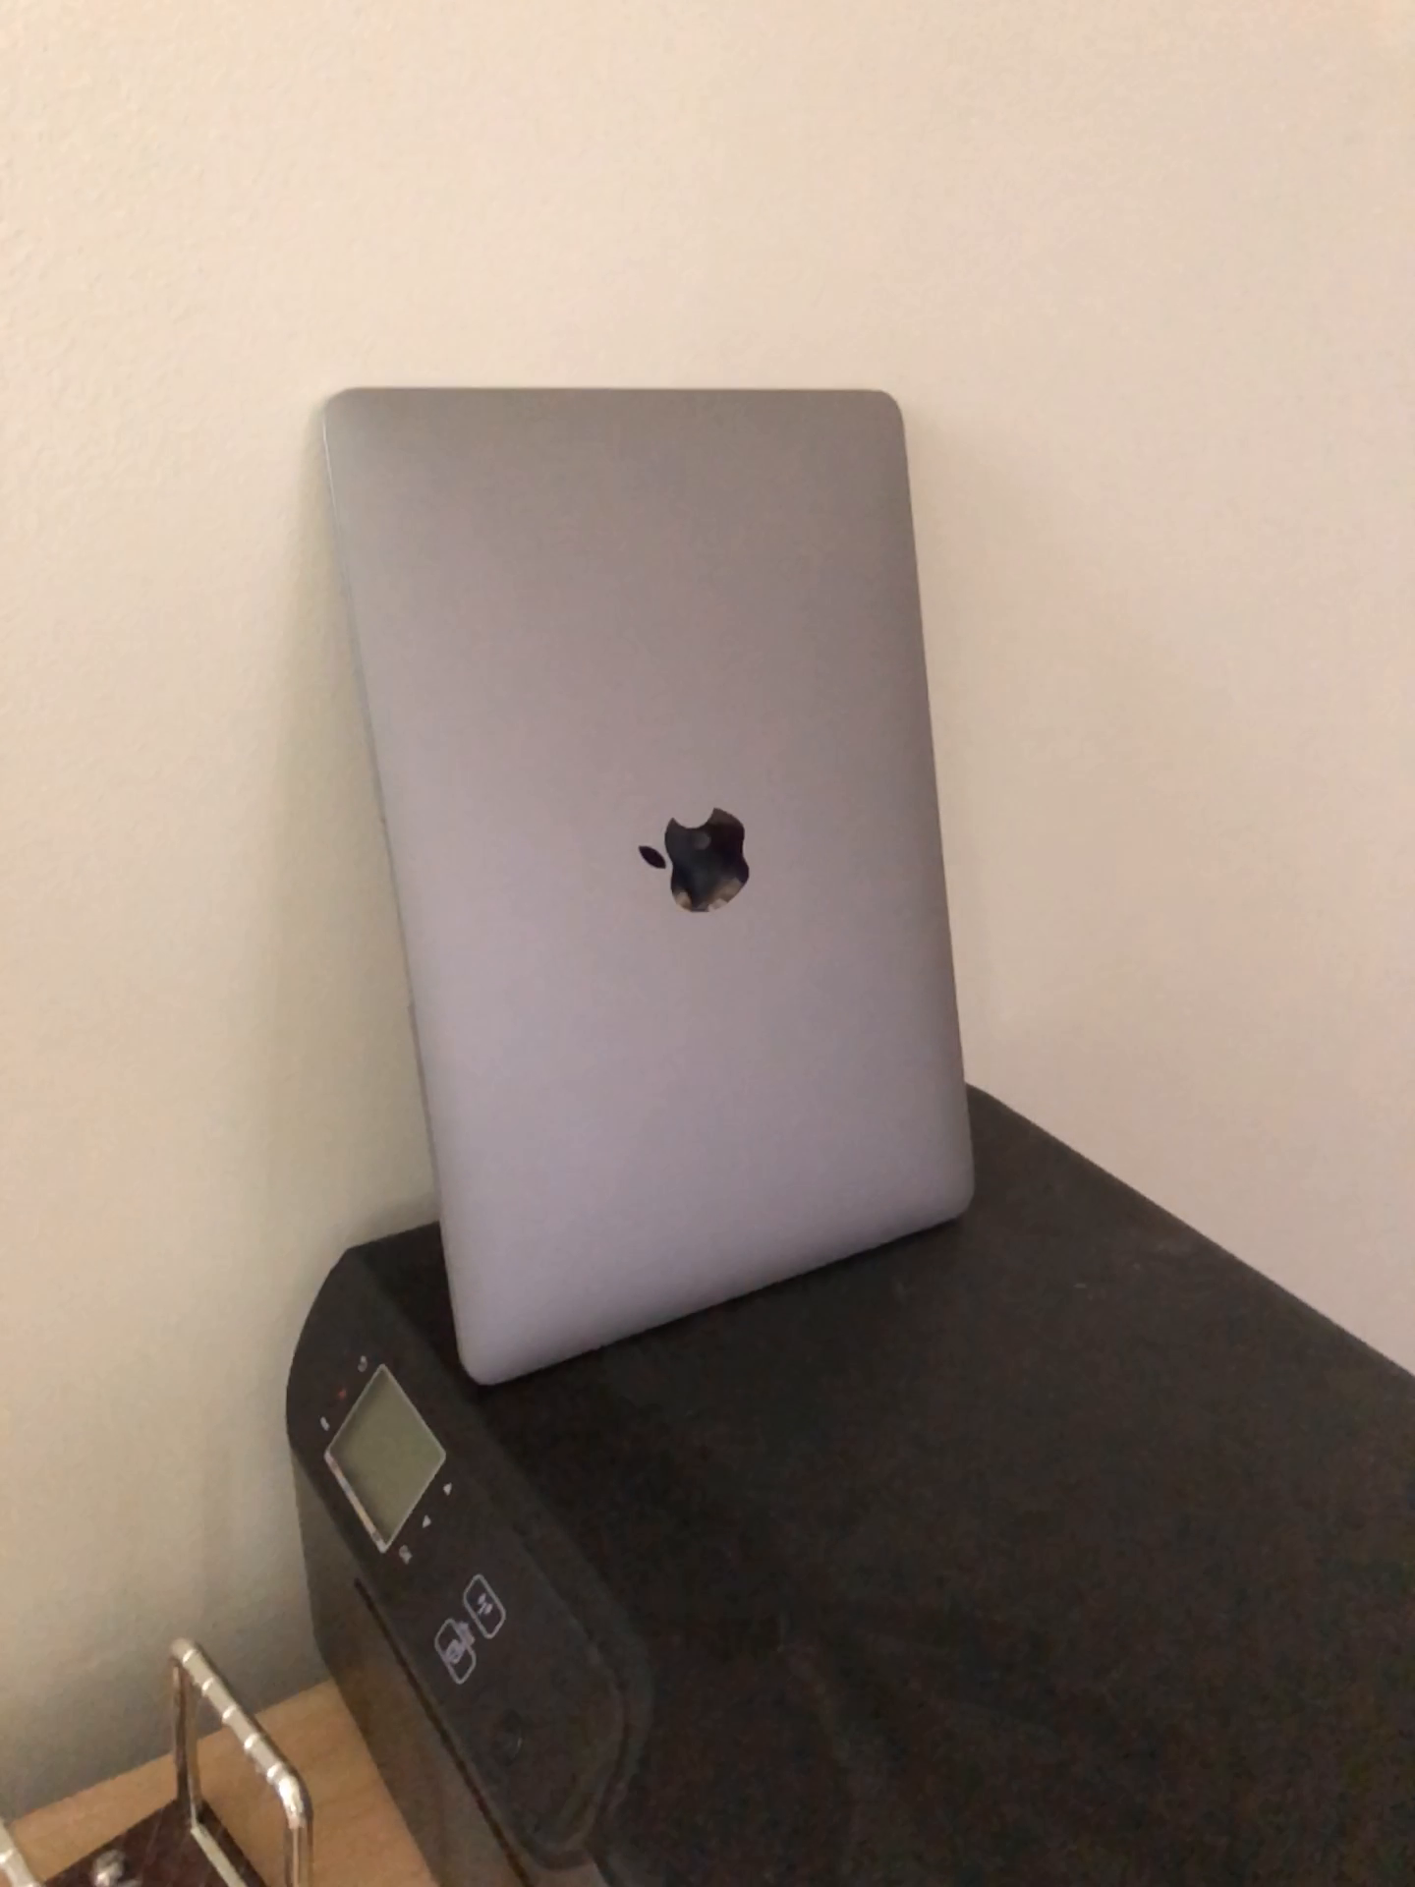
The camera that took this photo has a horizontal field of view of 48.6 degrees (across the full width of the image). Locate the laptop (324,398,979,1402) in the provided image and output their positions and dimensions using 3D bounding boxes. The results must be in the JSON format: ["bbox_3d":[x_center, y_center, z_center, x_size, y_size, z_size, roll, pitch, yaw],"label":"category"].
[{"bbox_3d":[-0.003,-0.024,0.483,0.196,0.275,0.002,-12,9,-32],"label":"laptop"}]
